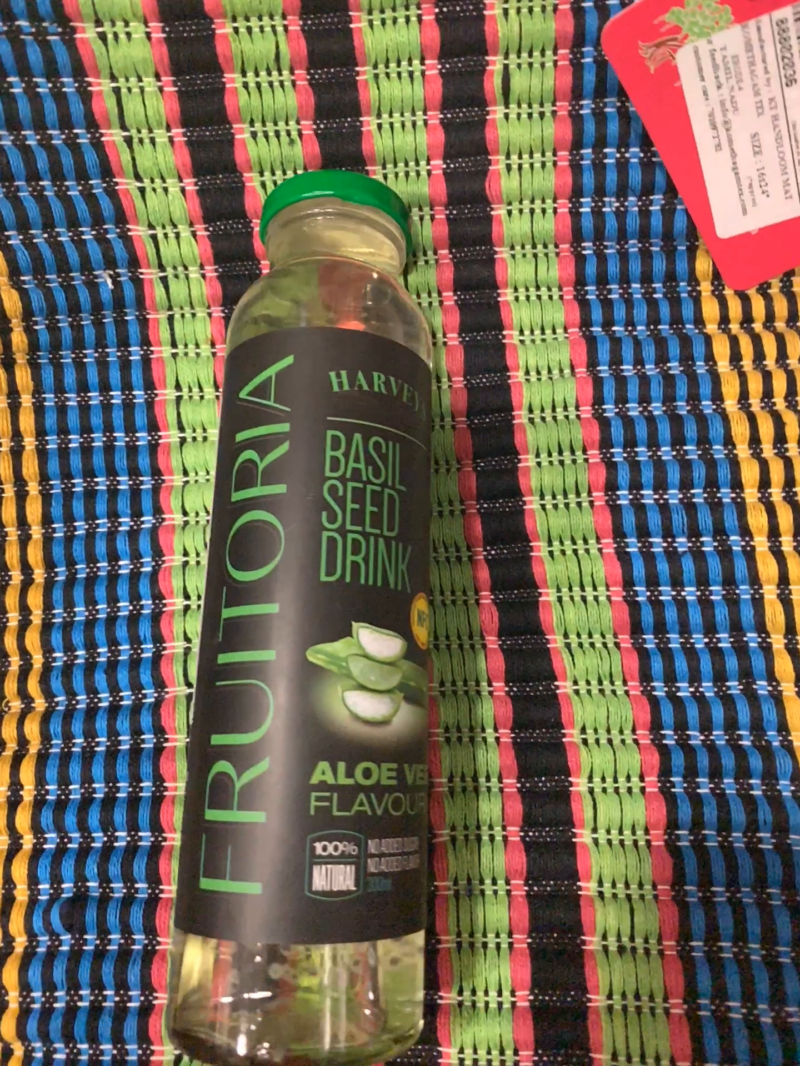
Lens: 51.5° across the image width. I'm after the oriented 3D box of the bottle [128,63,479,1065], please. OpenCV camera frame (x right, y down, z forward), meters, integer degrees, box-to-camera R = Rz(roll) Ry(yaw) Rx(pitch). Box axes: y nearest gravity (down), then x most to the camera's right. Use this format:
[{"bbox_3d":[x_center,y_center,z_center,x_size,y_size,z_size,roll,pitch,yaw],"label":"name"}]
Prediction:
[{"bbox_3d":[-0.020,0.009,0.188,0.050,0.060,0.200,8,76,-29],"label":"bottle"}]
